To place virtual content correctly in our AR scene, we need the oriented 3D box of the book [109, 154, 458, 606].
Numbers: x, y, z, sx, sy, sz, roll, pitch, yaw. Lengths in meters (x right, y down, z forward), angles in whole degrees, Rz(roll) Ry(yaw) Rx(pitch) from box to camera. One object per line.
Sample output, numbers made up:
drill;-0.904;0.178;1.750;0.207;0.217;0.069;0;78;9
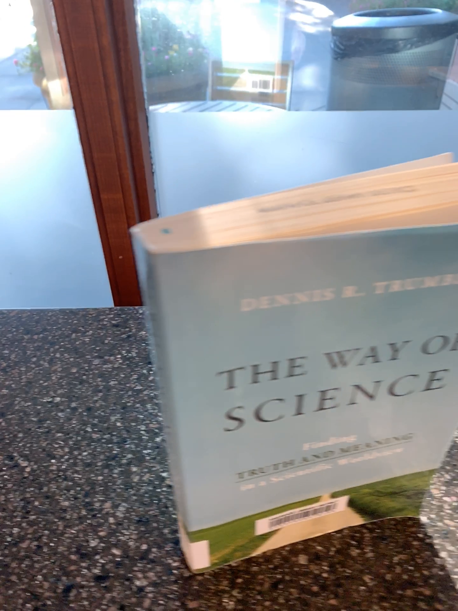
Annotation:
book;0.047;0.052;0.225;0.167;0.219;0.040;-10;38;-12
